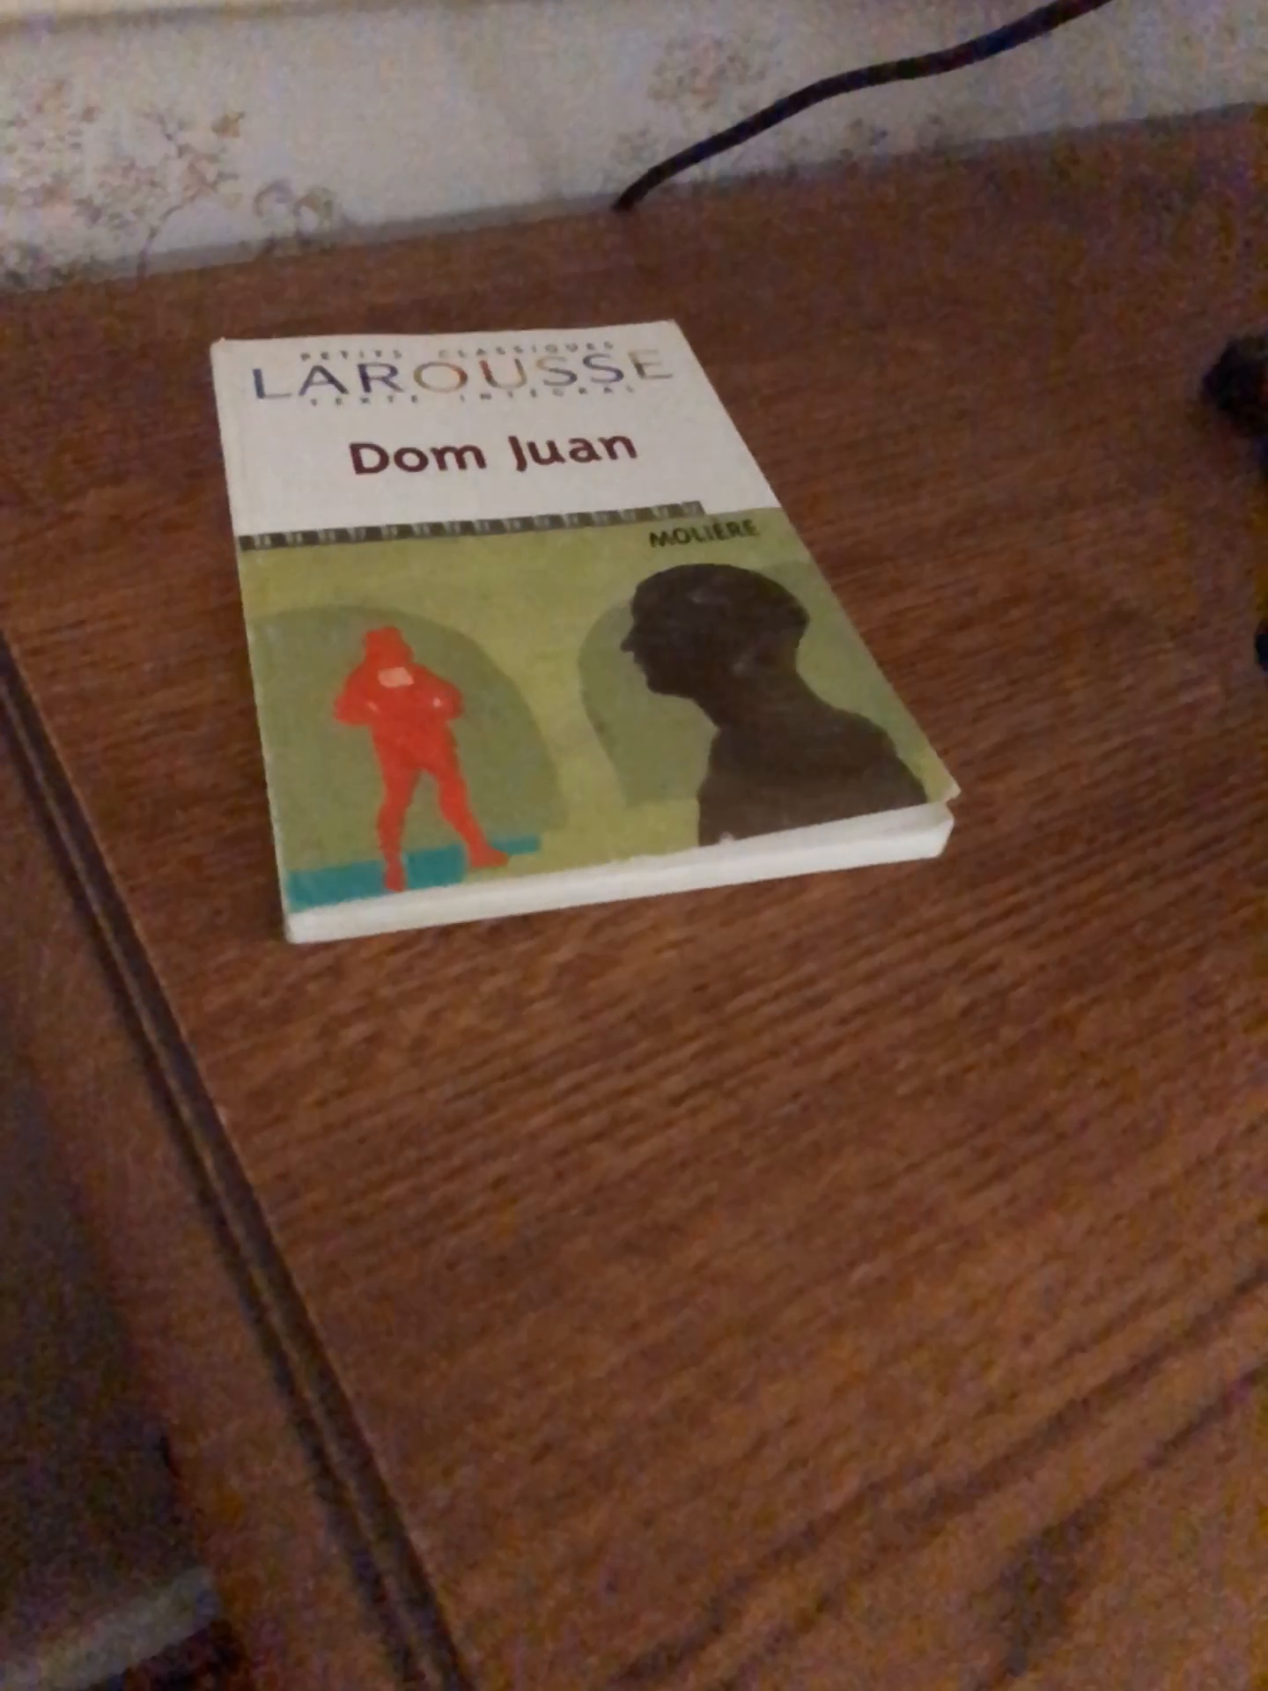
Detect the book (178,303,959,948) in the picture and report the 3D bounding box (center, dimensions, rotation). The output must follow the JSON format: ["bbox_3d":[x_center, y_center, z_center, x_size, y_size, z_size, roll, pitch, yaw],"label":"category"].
[{"bbox_3d":[-0.026,-0.060,0.278,0.115,0.010,0.181,-7,48,-15],"label":"book"}]
